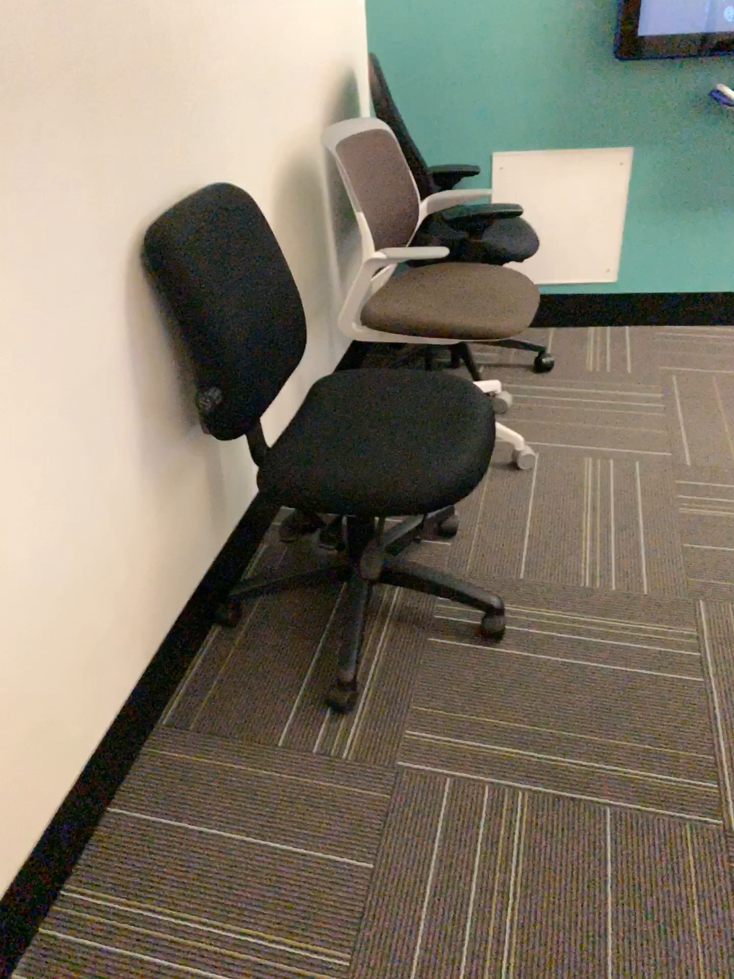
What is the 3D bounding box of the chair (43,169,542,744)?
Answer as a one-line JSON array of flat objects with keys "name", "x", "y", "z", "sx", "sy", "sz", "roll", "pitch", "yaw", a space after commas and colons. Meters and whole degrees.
[{"name": "chair", "x": -0.046, "y": -0.097, "z": 1.660, "sx": 0.740, "sy": 0.994, "sz": 0.684, "roll": 5, "pitch": 36, "yaw": 13}]
